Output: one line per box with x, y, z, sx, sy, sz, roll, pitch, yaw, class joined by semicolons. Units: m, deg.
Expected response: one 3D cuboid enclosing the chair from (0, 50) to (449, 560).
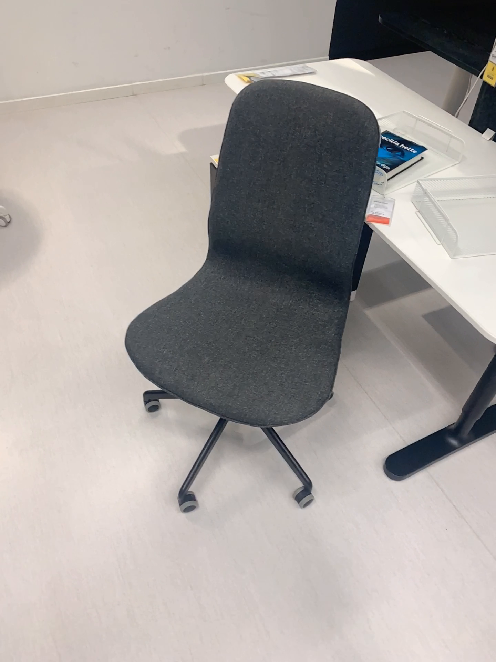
-0.009;-0.025;1.298;0.630;0.996;0.642;18;48;13;chair
